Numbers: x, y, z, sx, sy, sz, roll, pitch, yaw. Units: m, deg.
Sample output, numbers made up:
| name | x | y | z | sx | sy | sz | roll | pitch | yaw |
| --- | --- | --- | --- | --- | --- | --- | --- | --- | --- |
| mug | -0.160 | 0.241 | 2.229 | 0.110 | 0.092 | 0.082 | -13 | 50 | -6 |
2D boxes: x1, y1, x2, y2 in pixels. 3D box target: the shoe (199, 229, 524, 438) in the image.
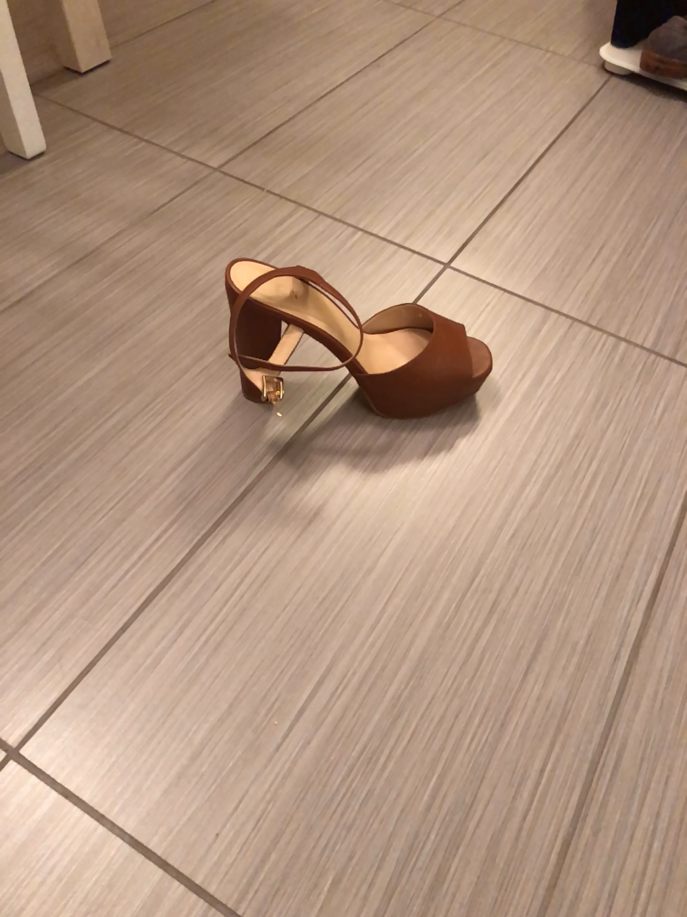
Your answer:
| name | x | y | z | sx | sy | sz | roll | pitch | yaw |
| --- | --- | --- | --- | --- | --- | --- | --- | --- | --- |
| shoe | 0.010 | -0.101 | 0.624 | 0.240 | 0.089 | 0.111 | 6 | 49 | -8 |
